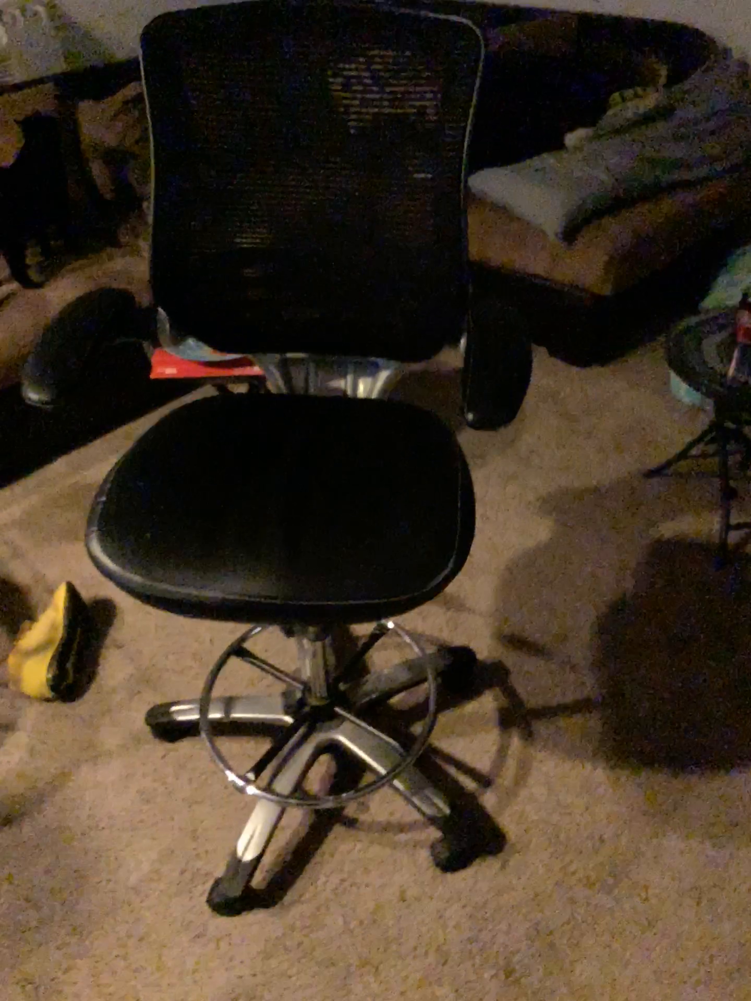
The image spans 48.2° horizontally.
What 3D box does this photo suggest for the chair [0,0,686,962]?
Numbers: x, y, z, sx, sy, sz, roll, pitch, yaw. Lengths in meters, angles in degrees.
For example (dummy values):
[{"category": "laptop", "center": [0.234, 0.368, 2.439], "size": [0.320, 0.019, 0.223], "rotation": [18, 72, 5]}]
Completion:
[{"category": "chair", "center": [-0.096, -0.057, 1.324], "size": [0.760, 1.170, 0.930], "rotation": [3, 39, 7]}]
